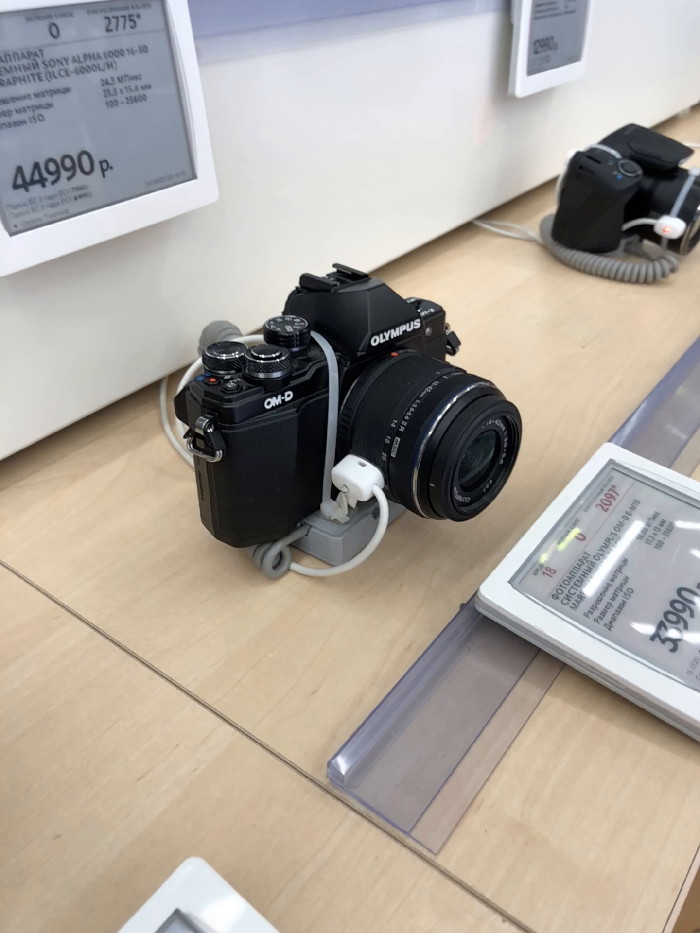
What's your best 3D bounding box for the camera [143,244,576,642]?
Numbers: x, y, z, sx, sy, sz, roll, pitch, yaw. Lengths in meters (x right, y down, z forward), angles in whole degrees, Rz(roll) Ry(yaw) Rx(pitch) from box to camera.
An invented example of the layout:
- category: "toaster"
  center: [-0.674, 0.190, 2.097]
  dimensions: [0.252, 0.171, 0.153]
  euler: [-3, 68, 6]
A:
- category: "camera"
  center: [0.006, -0.019, 0.289]
  dimensions: [0.100, 0.079, 0.112]
  euler: [27, 44, 35]
